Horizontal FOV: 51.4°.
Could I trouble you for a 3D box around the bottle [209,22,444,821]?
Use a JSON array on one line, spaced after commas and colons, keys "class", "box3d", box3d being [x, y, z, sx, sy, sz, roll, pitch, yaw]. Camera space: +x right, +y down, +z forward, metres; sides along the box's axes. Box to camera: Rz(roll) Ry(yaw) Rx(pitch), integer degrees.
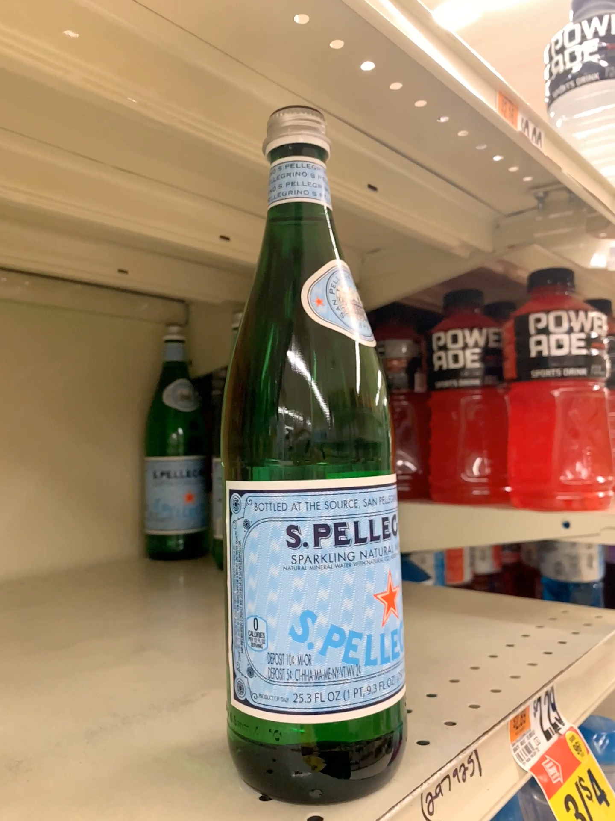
[{"class": "bottle", "box3d": [0.007, 0.007, 0.283, 0.078, 0.302, 0.065, 2, -3, -42]}]
